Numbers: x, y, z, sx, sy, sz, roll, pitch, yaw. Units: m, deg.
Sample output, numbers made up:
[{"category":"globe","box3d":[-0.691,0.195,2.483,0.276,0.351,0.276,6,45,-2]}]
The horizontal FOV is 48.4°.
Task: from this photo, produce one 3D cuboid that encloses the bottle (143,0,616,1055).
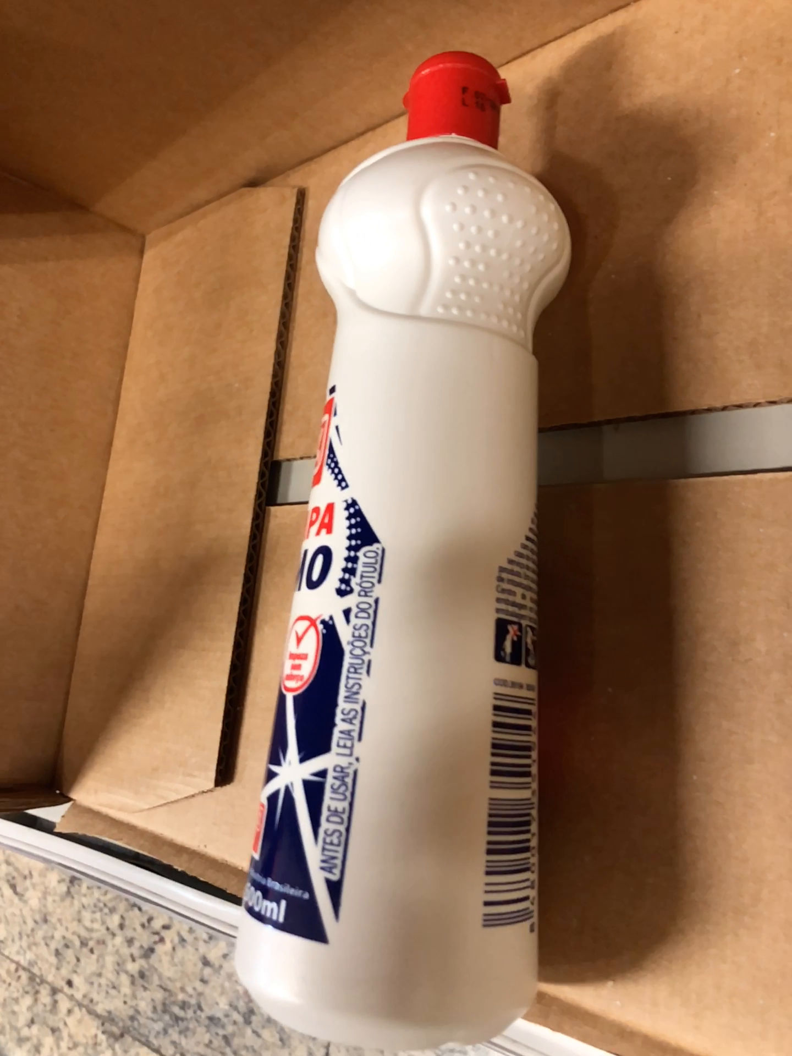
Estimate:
[{"category":"bottle","box3d":[0.001,-0.021,0.219,0.080,0.060,0.260,-6,76,43]}]
